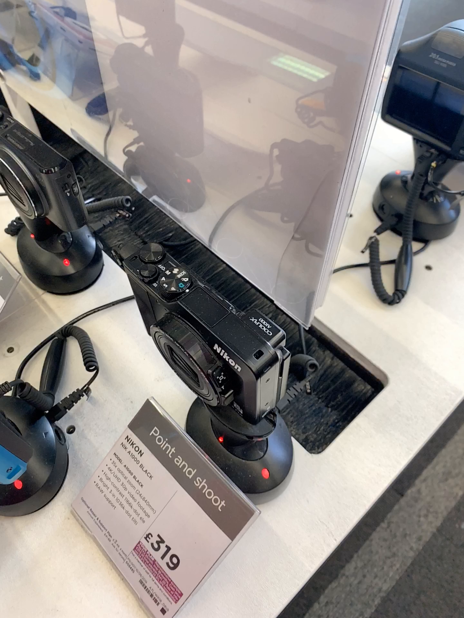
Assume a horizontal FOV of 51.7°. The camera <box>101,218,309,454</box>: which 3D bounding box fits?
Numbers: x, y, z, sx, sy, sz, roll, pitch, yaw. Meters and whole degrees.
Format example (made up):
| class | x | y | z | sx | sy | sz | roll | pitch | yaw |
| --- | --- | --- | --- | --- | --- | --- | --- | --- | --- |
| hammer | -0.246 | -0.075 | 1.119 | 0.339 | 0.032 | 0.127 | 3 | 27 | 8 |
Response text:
| class | x | y | z | sx | sy | sz | roll | pitch | yaw |
| --- | --- | --- | --- | --- | --- | --- | --- | --- | --- |
| camera | -0.018 | 0.016 | 0.270 | 0.030 | 0.079 | 0.120 | -39 | 63 | -23 |
